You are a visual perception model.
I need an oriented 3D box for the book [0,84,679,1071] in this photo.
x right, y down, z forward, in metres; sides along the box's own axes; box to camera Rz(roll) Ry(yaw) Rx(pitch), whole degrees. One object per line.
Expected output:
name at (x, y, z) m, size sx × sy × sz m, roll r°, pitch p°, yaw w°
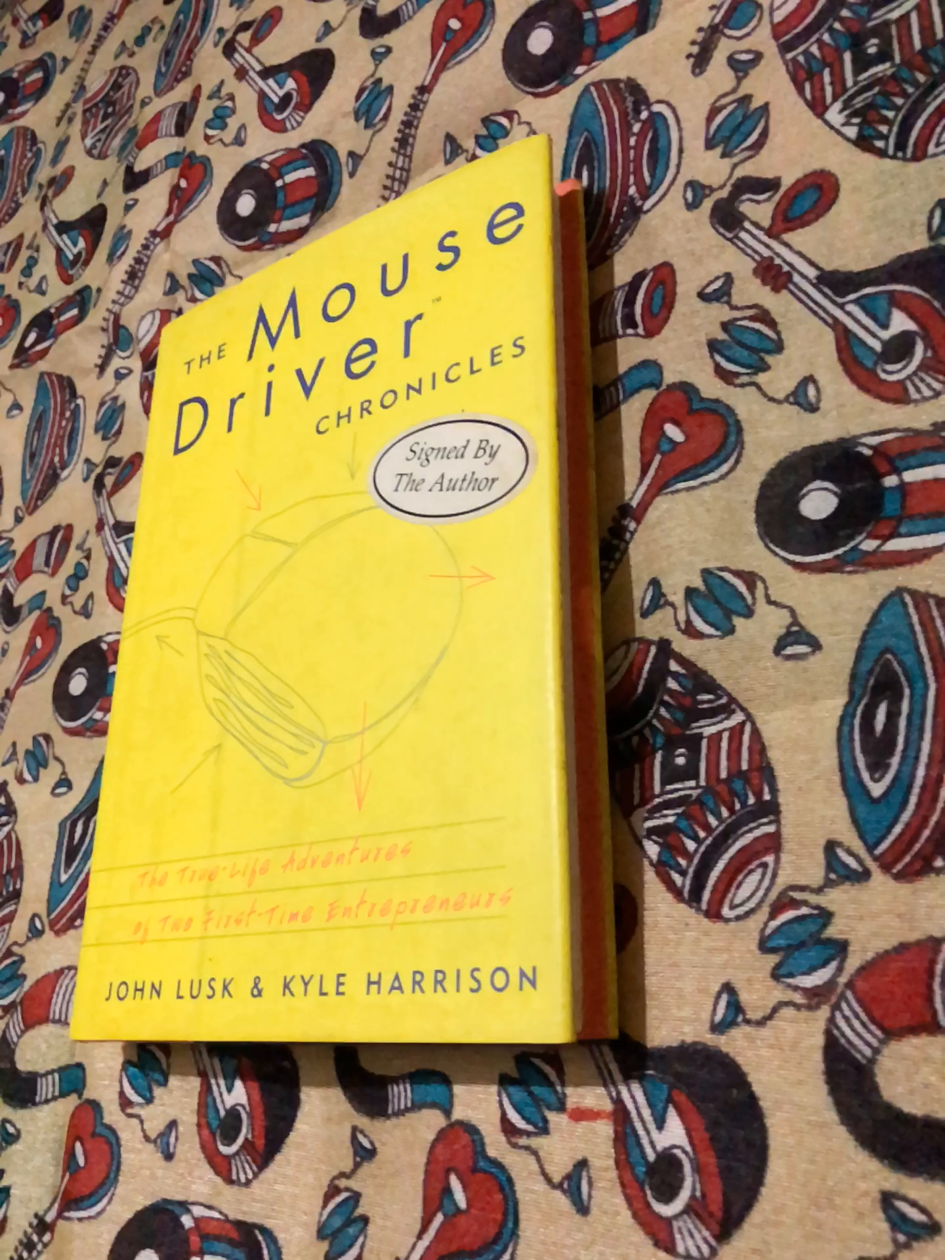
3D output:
book at (-0.037, -0.009, 0.267) m, size 0.161 × 0.040 × 0.220 m, roll -14°, pitch 61°, yaw 30°
